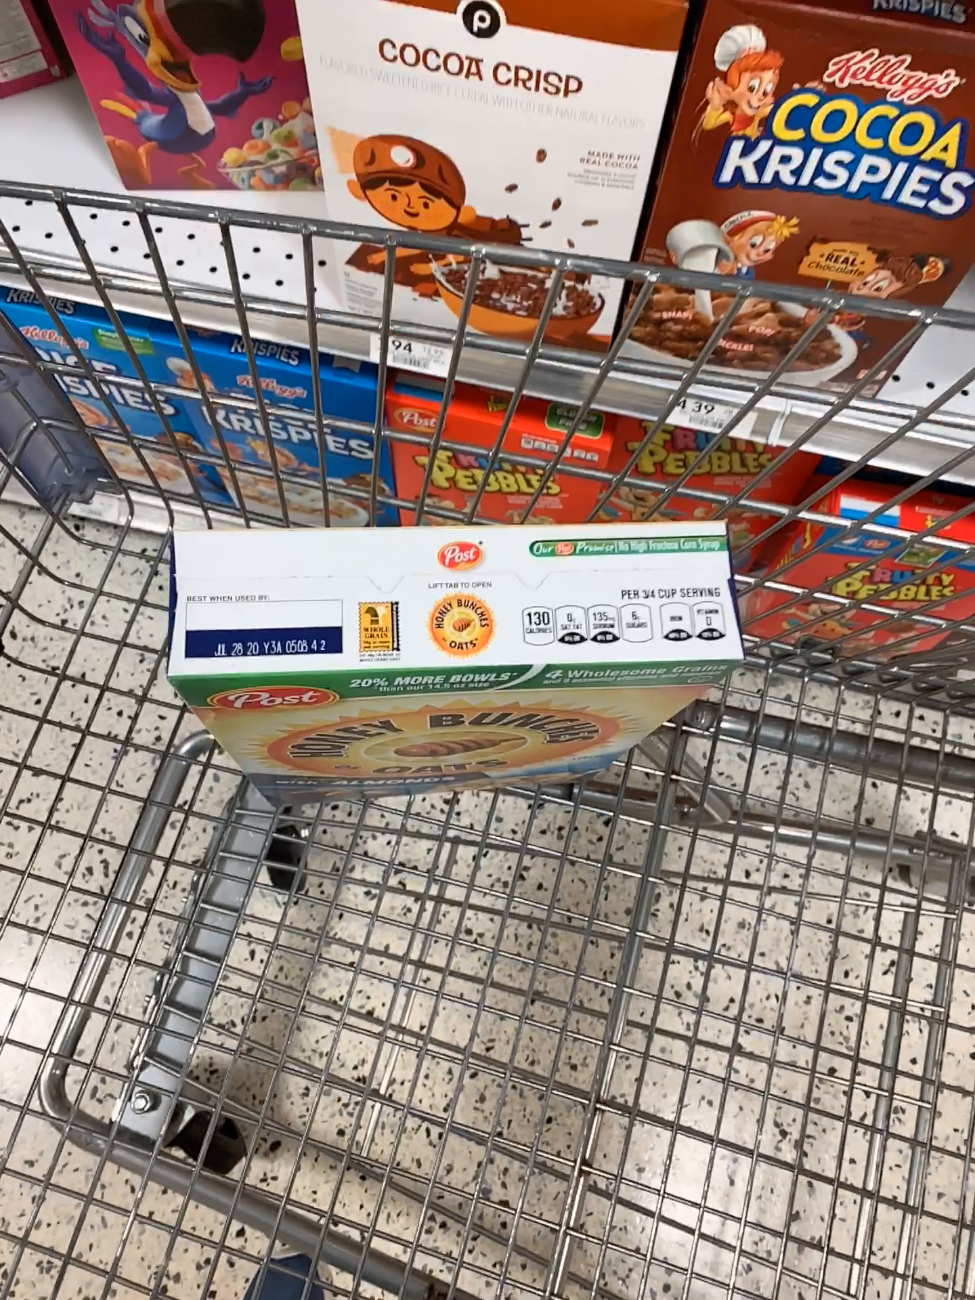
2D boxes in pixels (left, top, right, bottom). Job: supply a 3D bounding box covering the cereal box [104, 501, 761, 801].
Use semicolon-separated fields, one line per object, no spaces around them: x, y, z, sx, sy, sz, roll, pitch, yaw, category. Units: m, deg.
-0.025;0.021;0.478;0.210;0.309;0.060;-2;75;-4;cereal box
